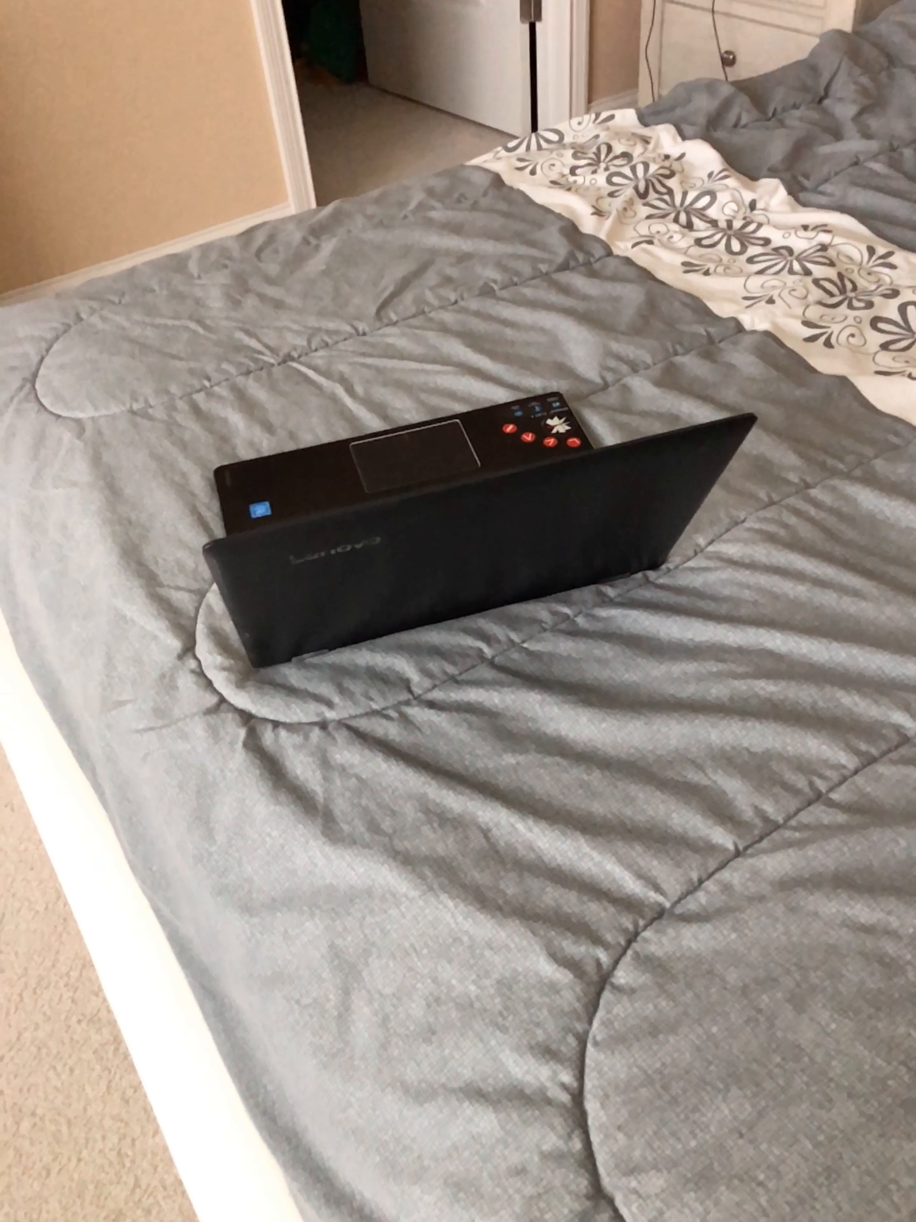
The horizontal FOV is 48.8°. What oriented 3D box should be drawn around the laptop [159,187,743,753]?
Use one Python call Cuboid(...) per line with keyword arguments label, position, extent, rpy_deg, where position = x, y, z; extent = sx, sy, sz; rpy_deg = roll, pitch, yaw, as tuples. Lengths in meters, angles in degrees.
Cuboid(label="laptop", position=(-0.024, -0.136, 0.838), extent=(0.361, 0.214, 0.353), rpy_deg=(-14, 47, -8))
